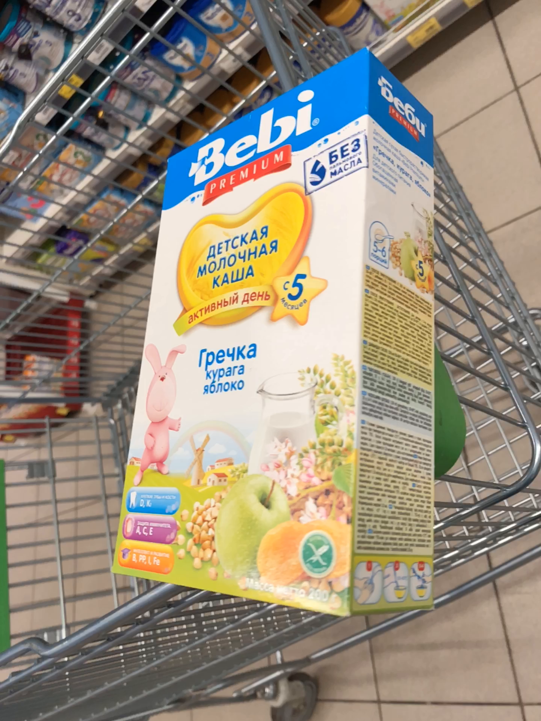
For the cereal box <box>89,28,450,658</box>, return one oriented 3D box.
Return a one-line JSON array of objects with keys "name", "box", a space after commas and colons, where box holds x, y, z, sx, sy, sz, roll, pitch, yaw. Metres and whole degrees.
[{"name": "cereal box", "box": [-0.001, -0.005, 0.255, 0.141, 0.050, 0.210, -10, 69, 42]}]
